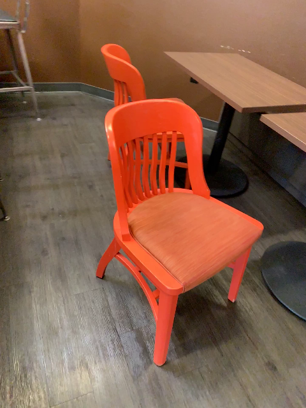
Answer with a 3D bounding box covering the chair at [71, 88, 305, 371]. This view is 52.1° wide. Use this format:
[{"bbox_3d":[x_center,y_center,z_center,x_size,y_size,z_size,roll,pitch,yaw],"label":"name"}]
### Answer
[{"bbox_3d":[0.085,0.070,1.255,0.562,0.806,0.581,-25,49,-36],"label":"chair"}]
